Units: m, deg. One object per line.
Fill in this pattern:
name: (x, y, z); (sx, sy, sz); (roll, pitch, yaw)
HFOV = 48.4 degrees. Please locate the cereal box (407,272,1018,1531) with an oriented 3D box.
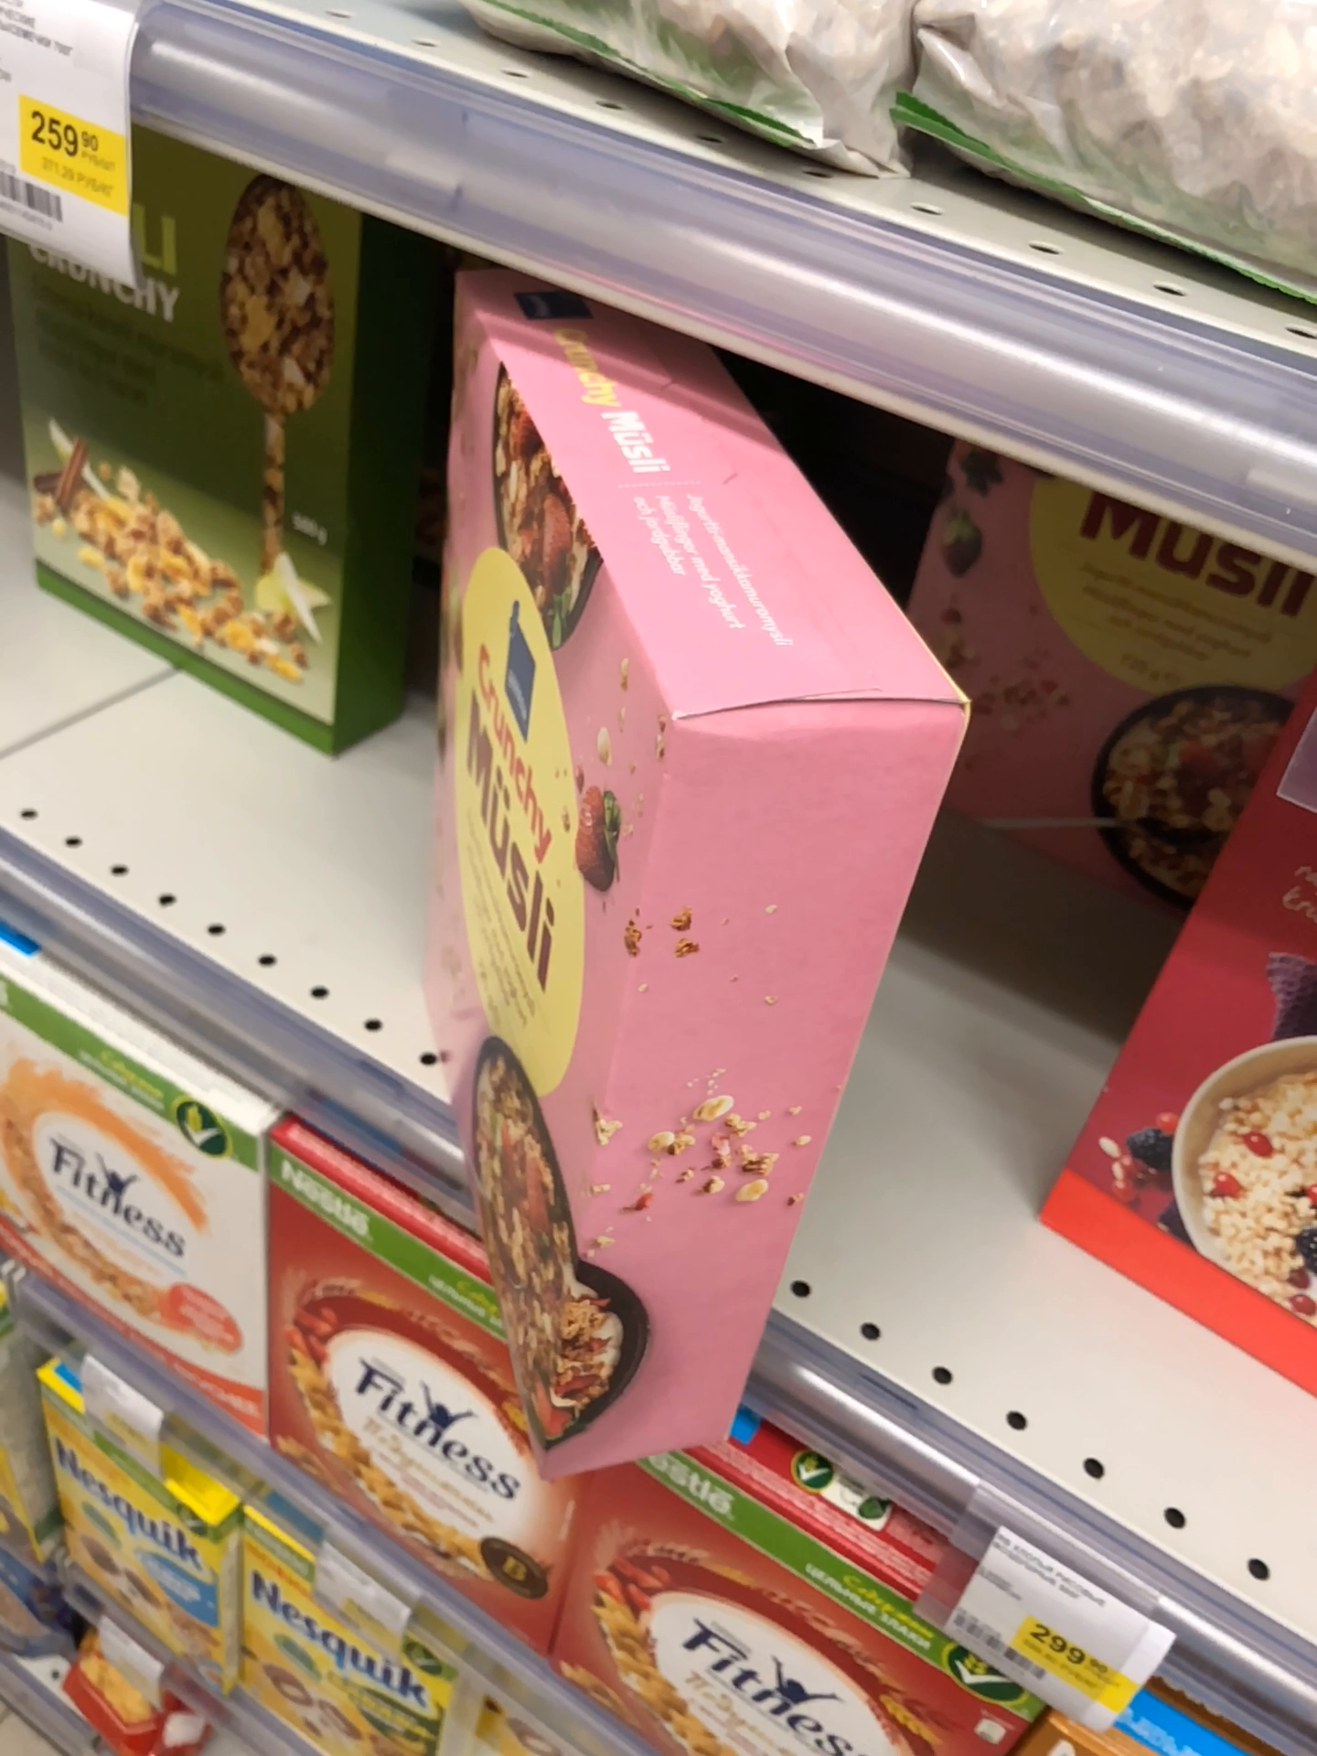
cereal box: (-0.016, 0.010, 0.388); (0.060, 0.258, 0.201); (-6, 44, -18)
